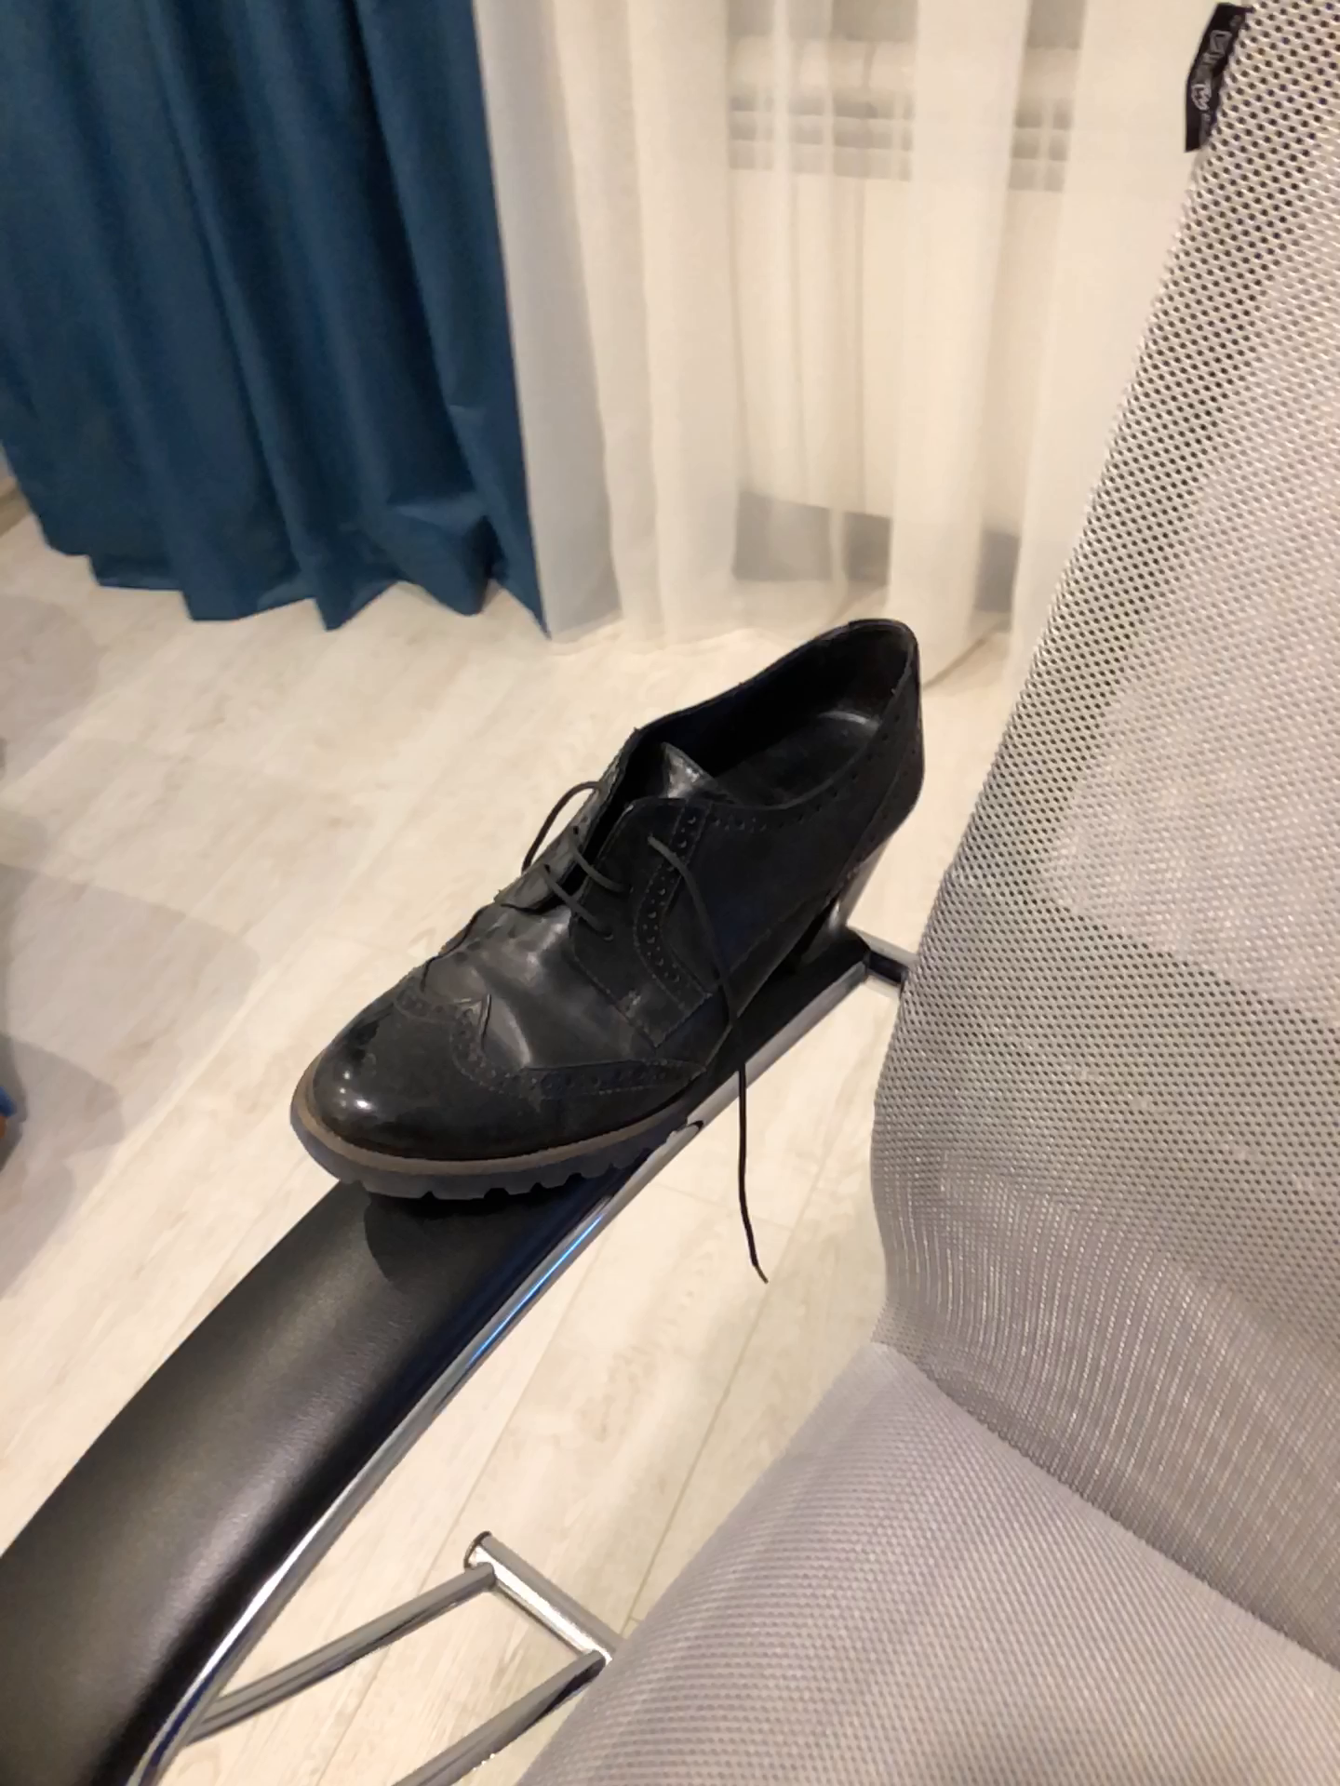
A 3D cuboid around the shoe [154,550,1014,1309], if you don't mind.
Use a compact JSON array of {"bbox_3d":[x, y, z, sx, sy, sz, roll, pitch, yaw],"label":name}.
[{"bbox_3d":[-0.016,-0.003,0.477,0.251,0.119,0.100,-29,48,-32],"label":"shoe"}]
